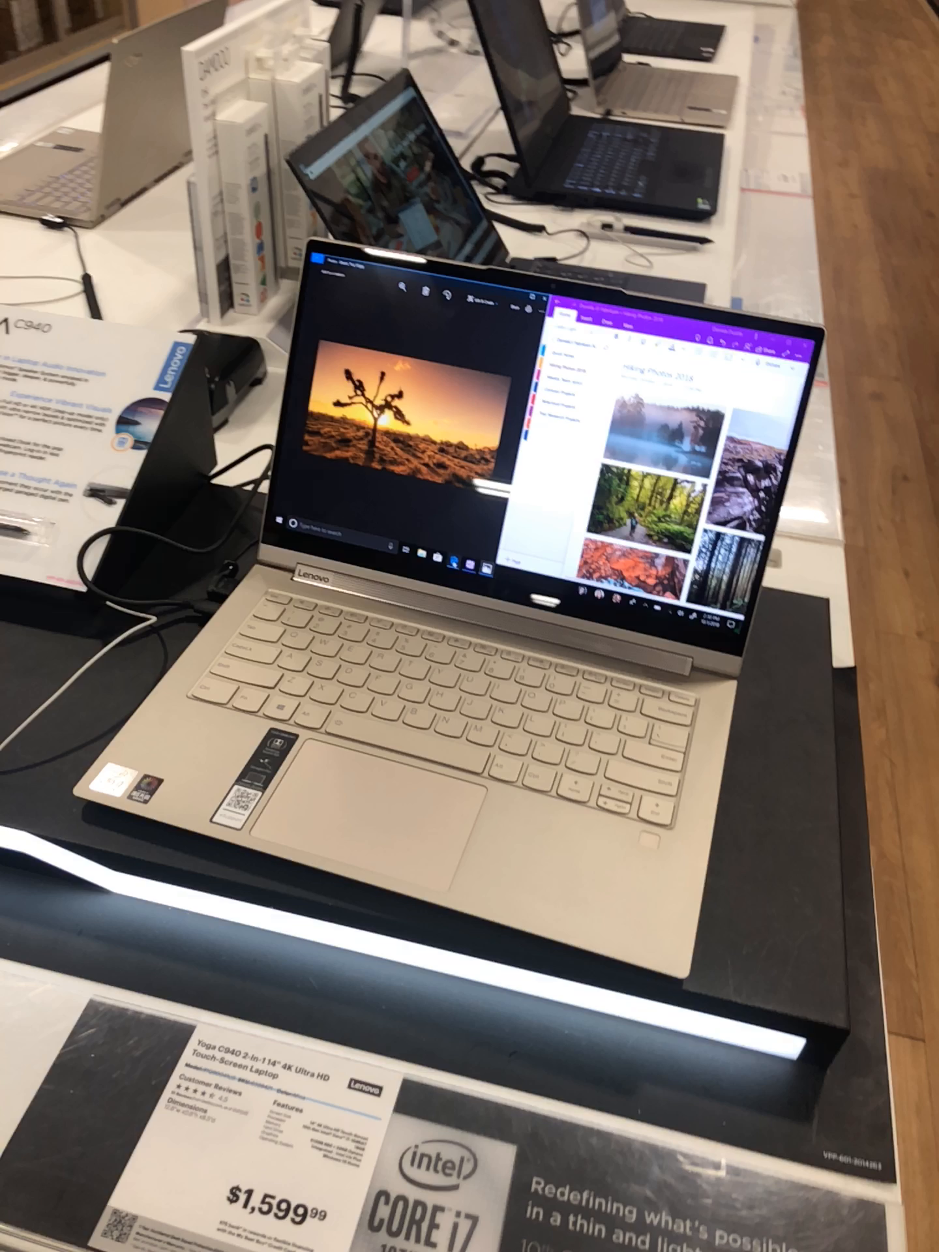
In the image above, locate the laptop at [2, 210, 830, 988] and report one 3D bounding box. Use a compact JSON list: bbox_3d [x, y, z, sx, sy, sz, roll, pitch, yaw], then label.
[{"bbox_3d":[-0.001,-0.051,0.559,0.320,0.170,0.327,14,44,12],"label":"laptop"}]
